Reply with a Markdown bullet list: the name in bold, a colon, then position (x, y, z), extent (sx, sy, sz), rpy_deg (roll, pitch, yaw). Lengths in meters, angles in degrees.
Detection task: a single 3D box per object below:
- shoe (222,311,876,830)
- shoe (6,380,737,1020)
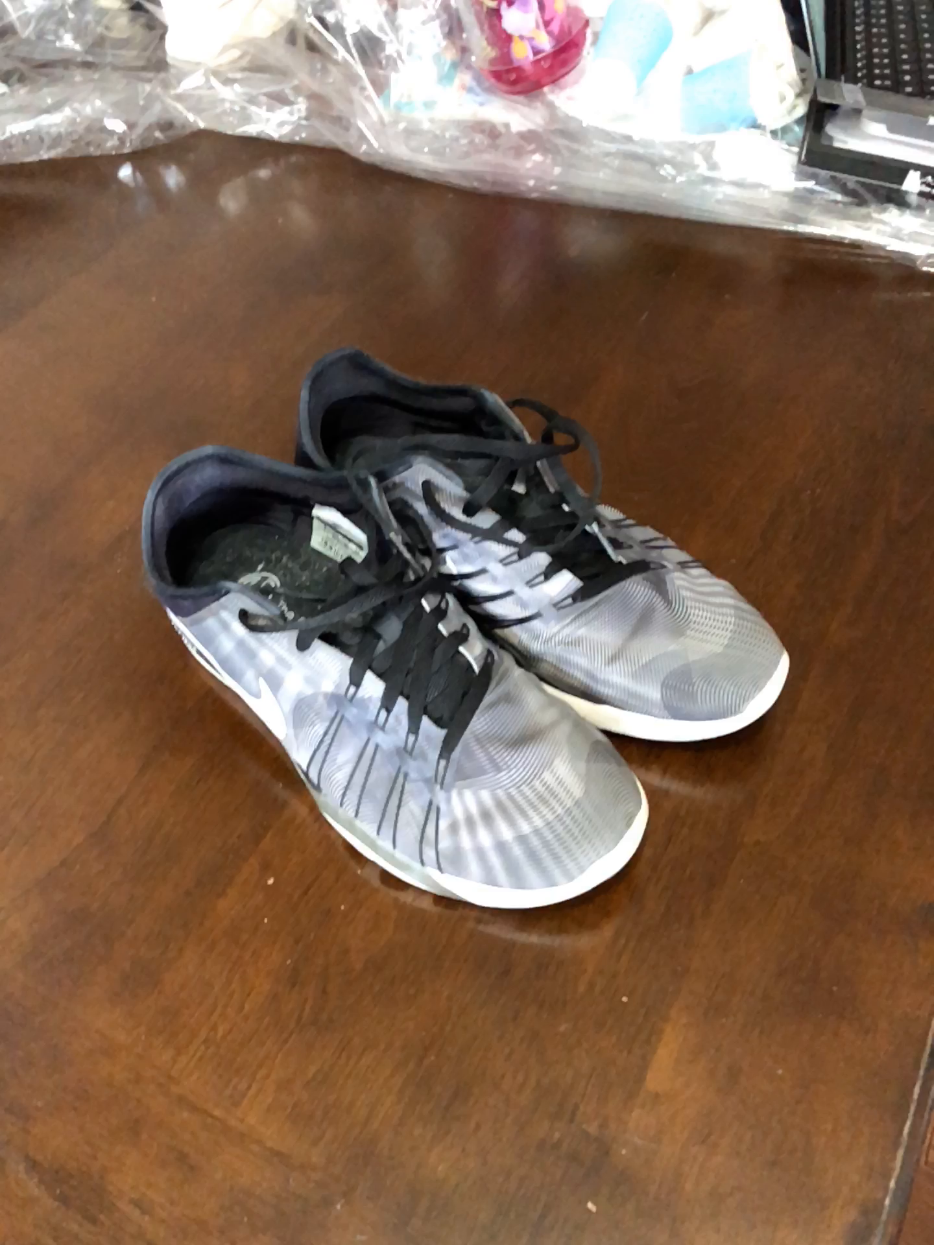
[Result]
- **shoe**: position (0.026, -0.032, 0.421), extent (0.230, 0.080, 0.100), rpy_deg (29, 59, 26)
- **shoe**: position (-0.037, 0.016, 0.370), extent (0.230, 0.090, 0.100), rpy_deg (30, 59, 26)
